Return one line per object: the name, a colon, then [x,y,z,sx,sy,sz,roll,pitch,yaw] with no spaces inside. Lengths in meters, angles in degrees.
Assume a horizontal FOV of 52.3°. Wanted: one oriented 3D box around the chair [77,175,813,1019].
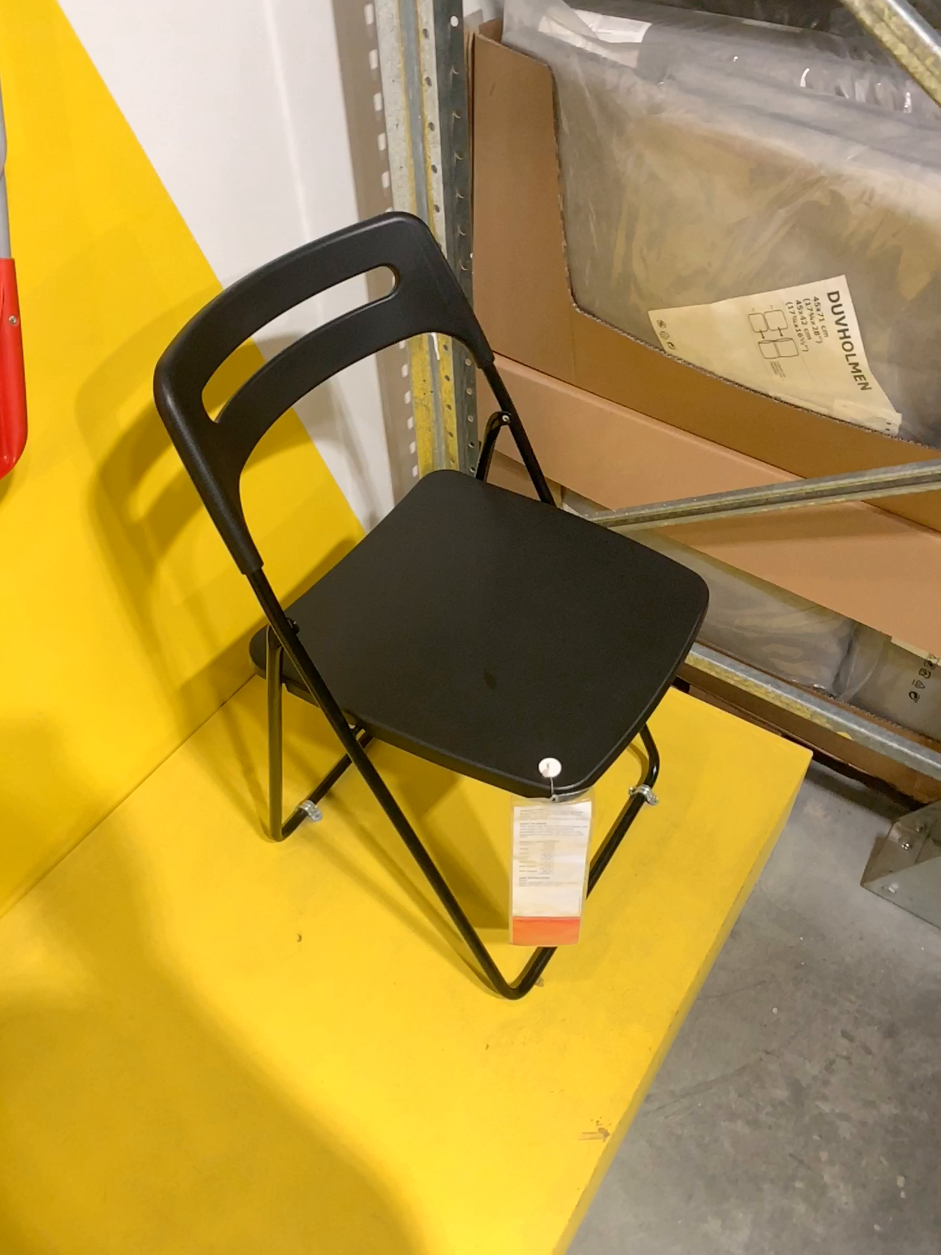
chair: [0.005,-0.015,1.049,0.441,0.698,0.441,24,52,24]
